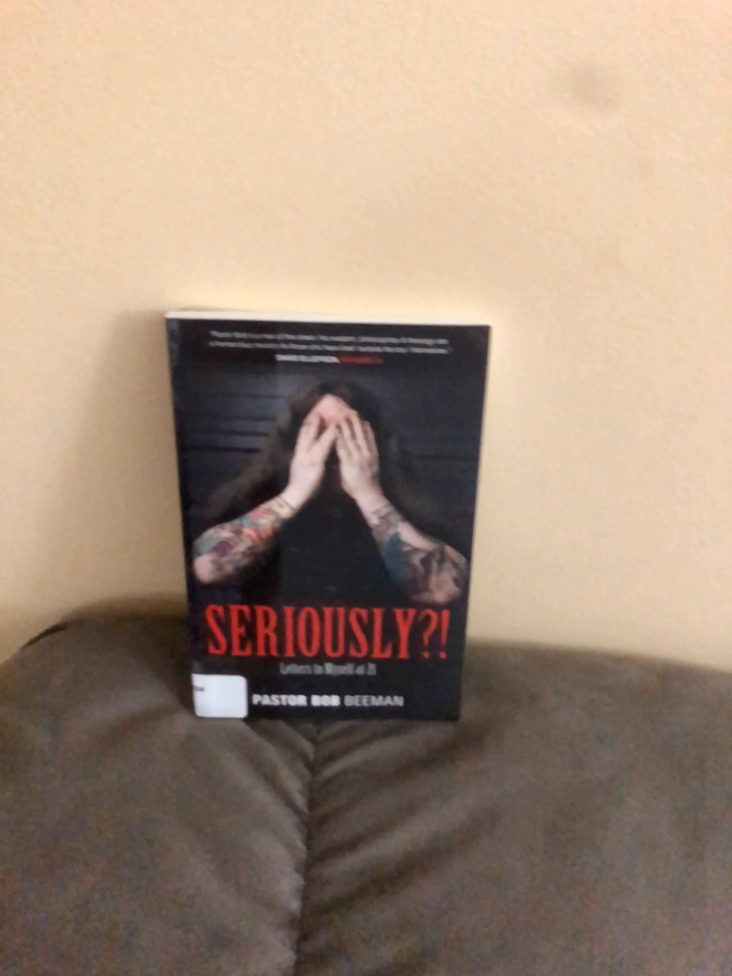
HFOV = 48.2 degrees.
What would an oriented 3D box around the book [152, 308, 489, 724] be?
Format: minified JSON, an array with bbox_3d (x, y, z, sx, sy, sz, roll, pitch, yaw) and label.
[{"bbox_3d":[-0.019,0.021,0.384,0.136,0.205,0.023,1,24,0],"label":"book"}]
